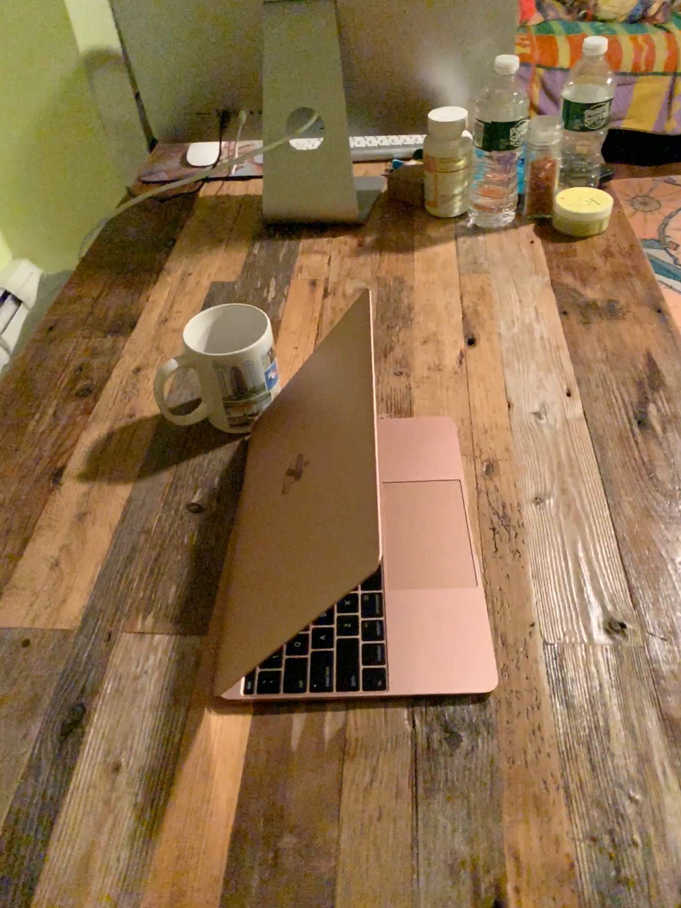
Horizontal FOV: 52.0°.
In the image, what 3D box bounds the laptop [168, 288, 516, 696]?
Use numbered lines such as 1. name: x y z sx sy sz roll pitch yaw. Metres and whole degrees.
1. laptop: 0.008 0.016 0.537 0.193 0.145 0.280 -2 45 2
